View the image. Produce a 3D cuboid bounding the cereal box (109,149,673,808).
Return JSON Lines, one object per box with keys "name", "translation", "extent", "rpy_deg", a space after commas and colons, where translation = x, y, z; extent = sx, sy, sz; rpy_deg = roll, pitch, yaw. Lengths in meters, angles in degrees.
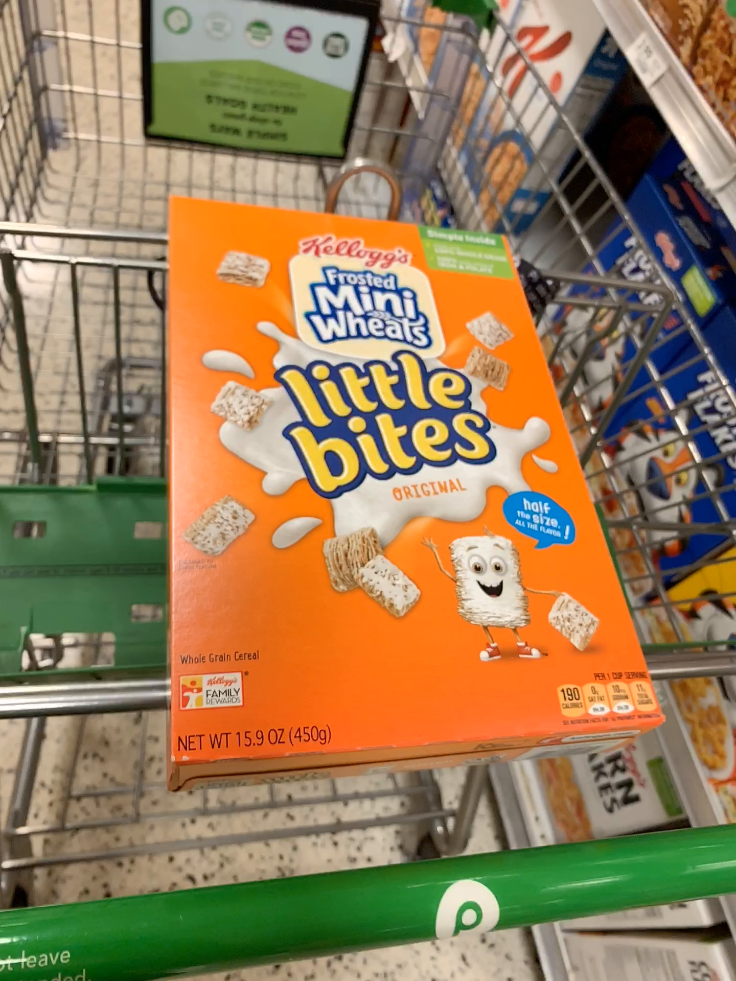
{"name": "cereal box", "translation": [-0.011, -0.030, 0.381], "extent": [0.210, 0.060, 0.322], "rpy_deg": [1, 57, -16]}
